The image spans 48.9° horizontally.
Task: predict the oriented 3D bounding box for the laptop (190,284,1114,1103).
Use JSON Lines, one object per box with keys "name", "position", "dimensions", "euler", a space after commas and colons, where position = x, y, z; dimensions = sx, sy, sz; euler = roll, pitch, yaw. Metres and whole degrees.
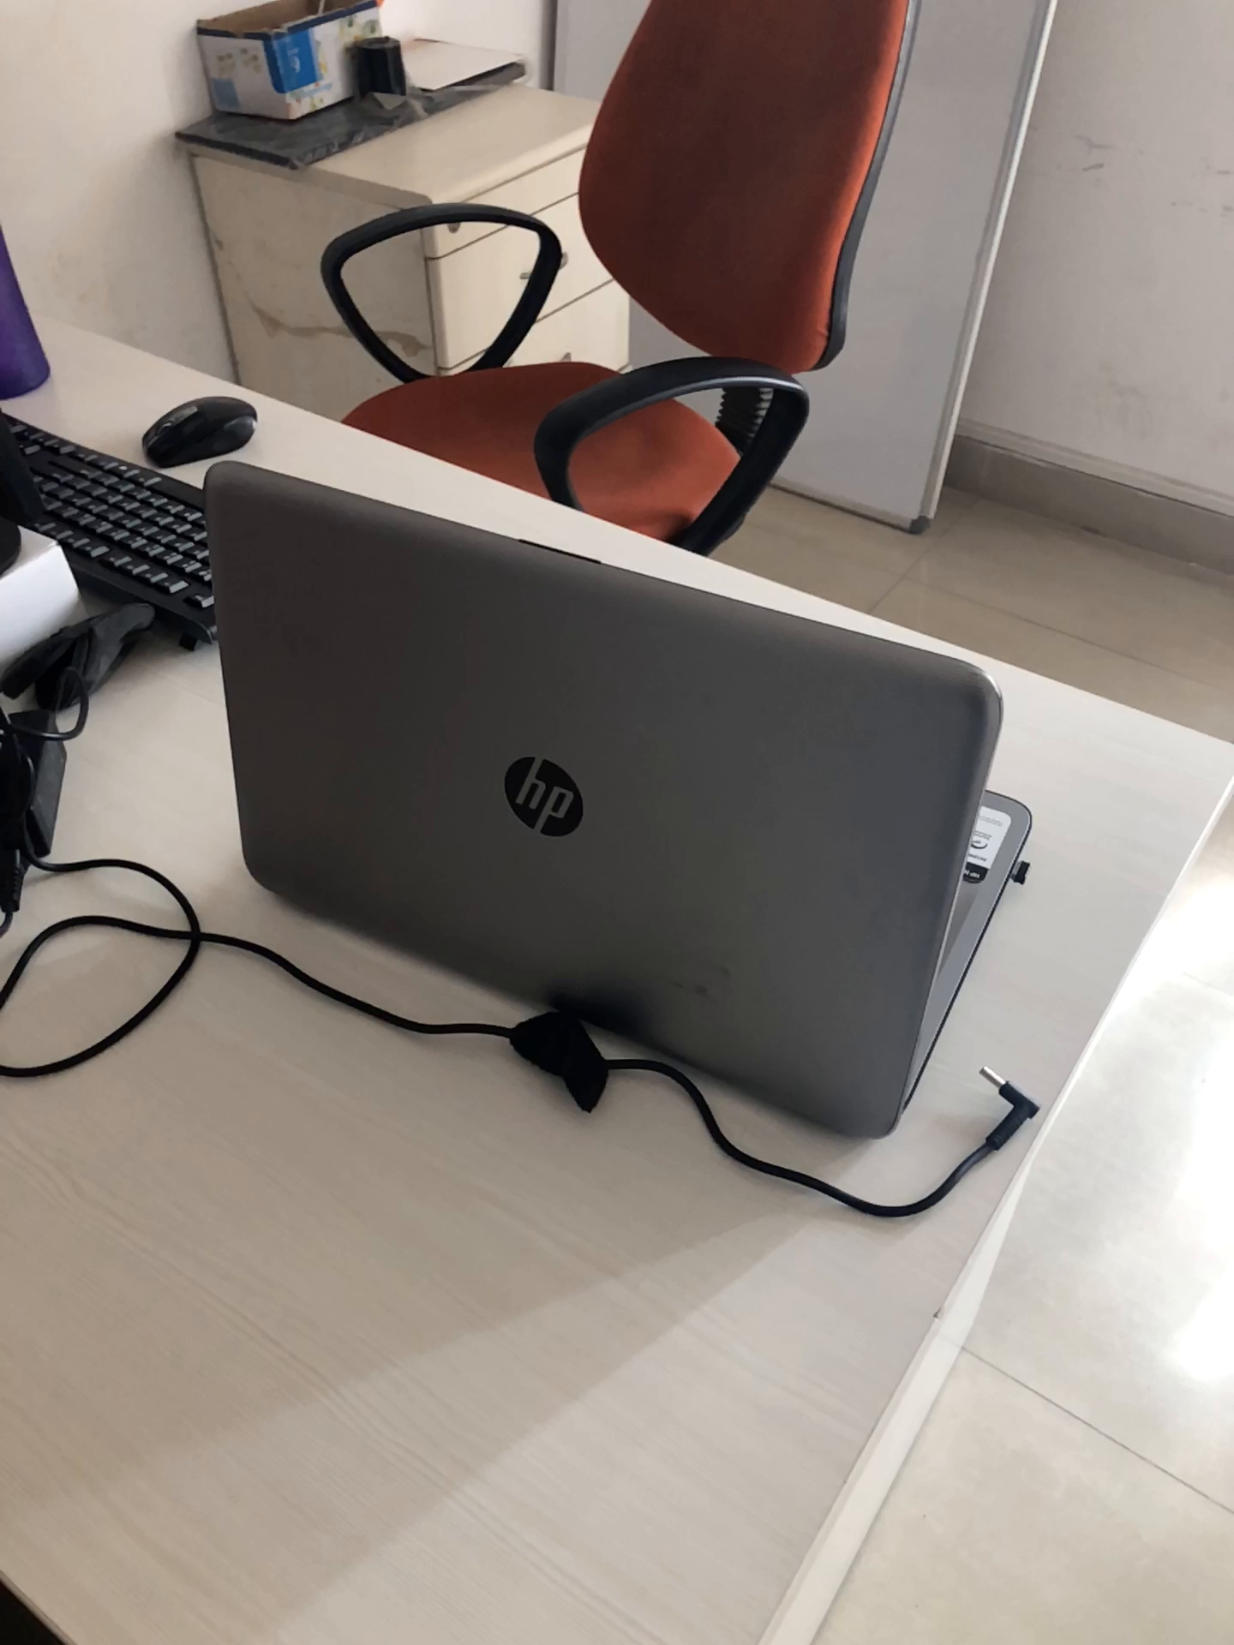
{"name": "laptop", "position": [0.015, -0.080, 0.676], "dimensions": [0.351, 0.226, 0.217], "euler": [20, 50, 22]}
